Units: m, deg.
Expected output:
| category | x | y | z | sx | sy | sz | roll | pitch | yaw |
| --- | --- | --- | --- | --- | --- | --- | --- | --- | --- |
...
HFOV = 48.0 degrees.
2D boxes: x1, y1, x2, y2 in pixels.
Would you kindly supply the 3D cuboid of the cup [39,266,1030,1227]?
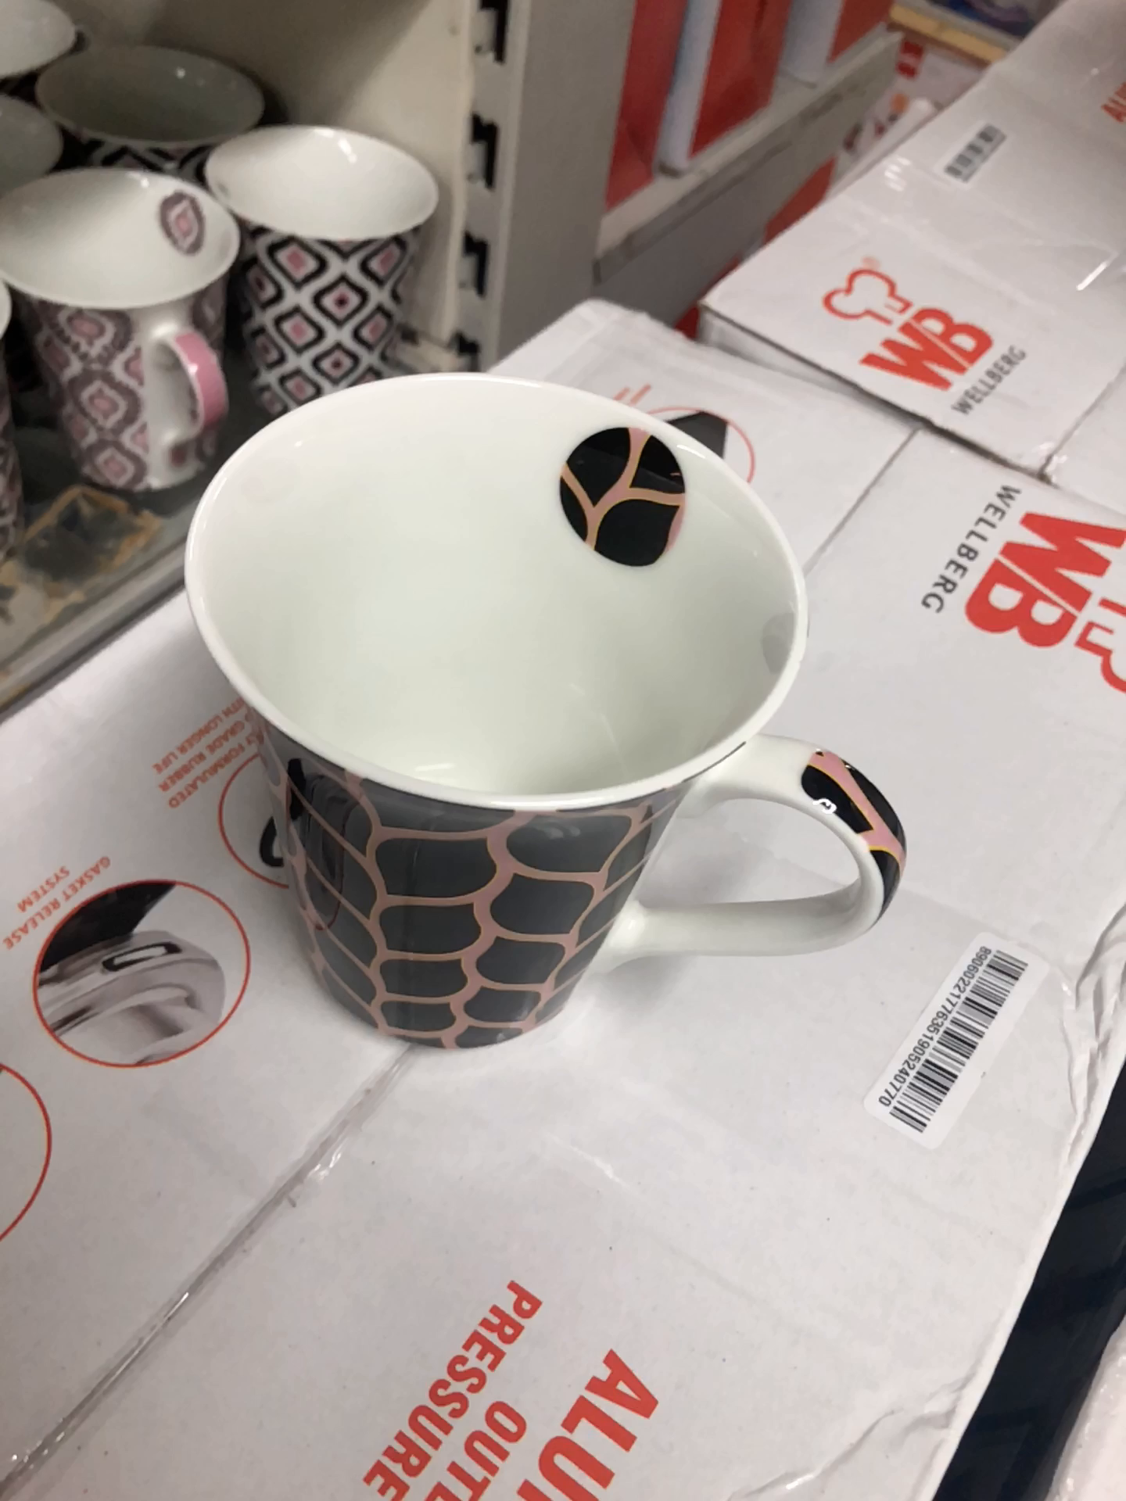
| category | x | y | z | sx | sy | sz | roll | pitch | yaw |
| --- | --- | --- | --- | --- | --- | --- | --- | --- | --- |
| cup | -0.004 | 0.002 | 0.210 | 0.110 | 0.099 | 0.080 | 24 | 54 | 10 |
